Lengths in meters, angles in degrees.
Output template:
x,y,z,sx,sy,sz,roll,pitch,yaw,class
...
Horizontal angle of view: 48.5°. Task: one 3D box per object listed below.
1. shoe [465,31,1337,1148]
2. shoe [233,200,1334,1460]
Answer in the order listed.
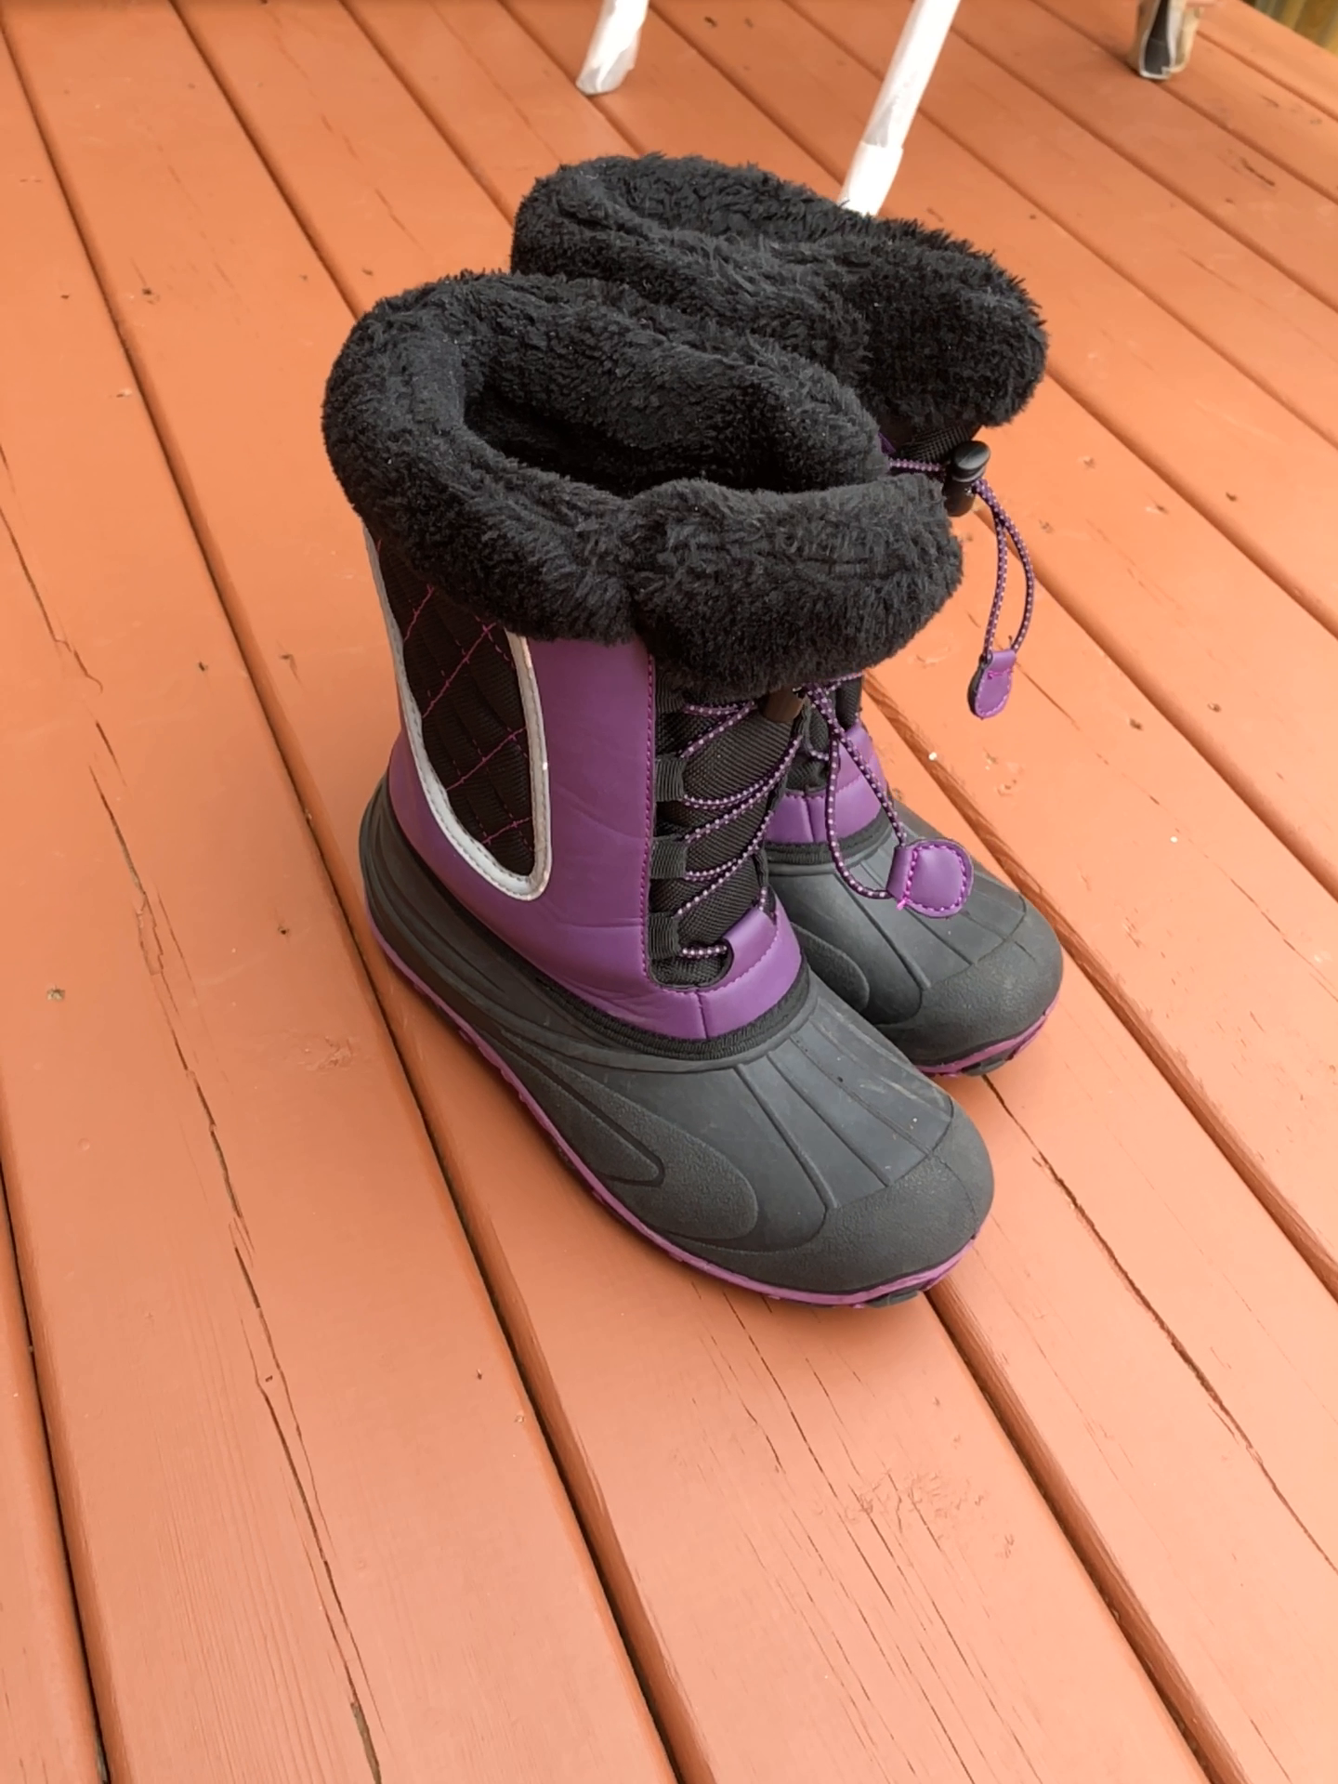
x,y,z,sx,sy,sz,roll,pitch,yaw,class
0.061,-0.095,0.513,0.240,0.279,0.120,34,51,21,shoe
0.005,-0.010,0.450,0.240,0.279,0.120,37,53,23,shoe
